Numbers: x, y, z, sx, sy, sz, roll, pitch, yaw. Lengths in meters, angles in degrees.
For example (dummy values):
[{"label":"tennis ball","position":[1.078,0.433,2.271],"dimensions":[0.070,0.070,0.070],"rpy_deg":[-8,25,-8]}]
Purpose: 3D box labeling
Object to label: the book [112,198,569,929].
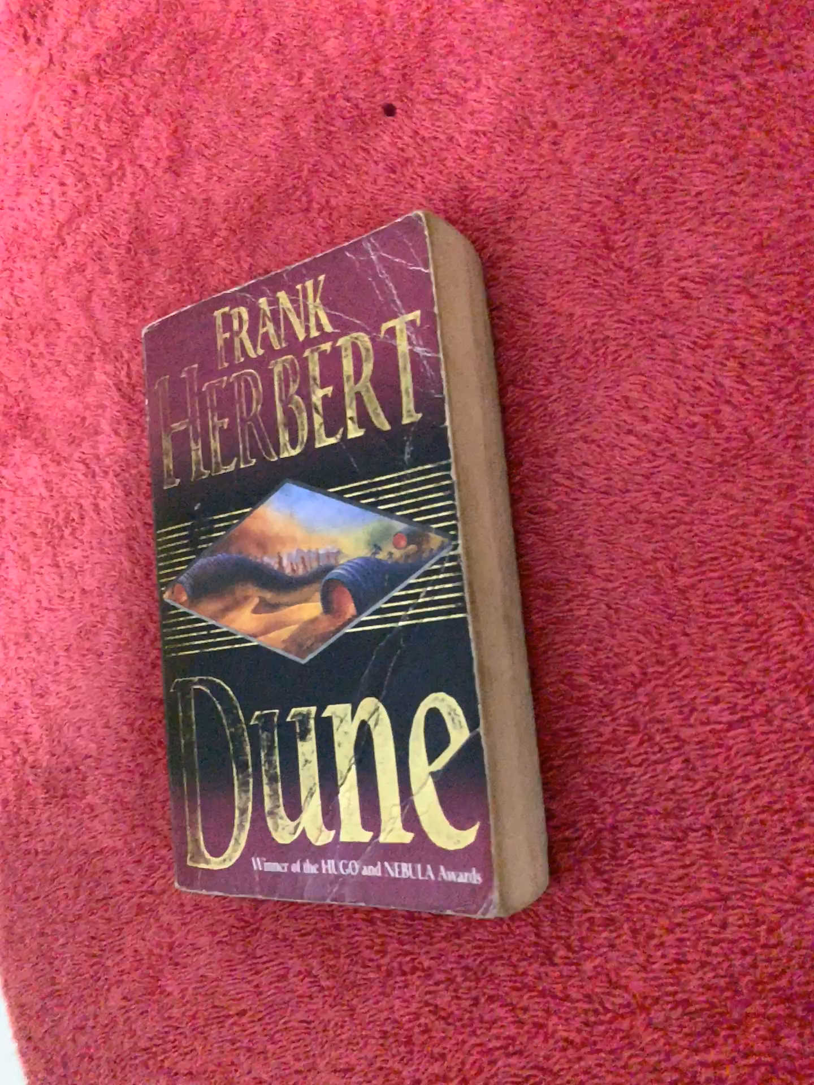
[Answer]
[{"label":"book","position":[-0.026,0.010,0.235],"dimensions":[0.114,0.039,0.165],"rpy_deg":[-11,79,33]}]
